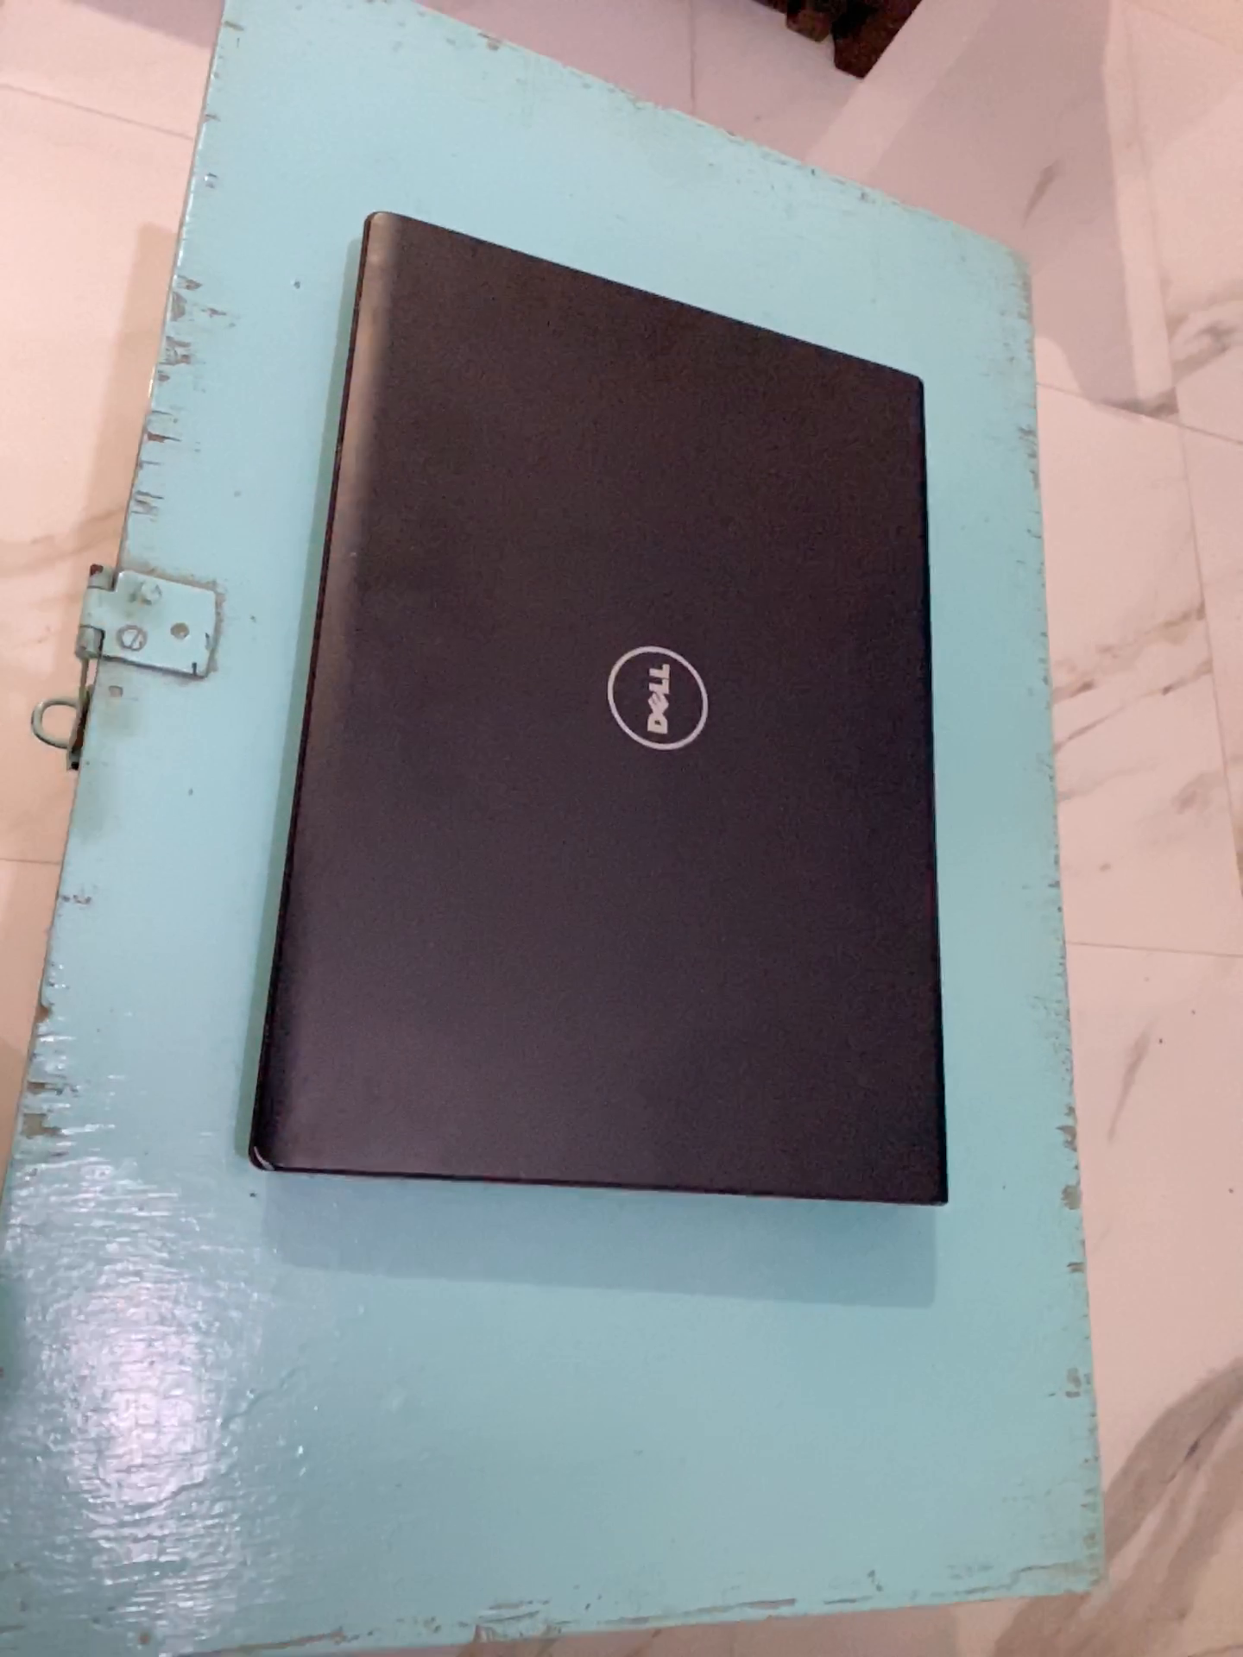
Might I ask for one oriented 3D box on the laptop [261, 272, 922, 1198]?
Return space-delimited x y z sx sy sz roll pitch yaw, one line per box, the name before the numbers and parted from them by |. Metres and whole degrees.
laptop | 0.012 -0.046 0.548 0.269 0.004 0.384 10 71 -19
